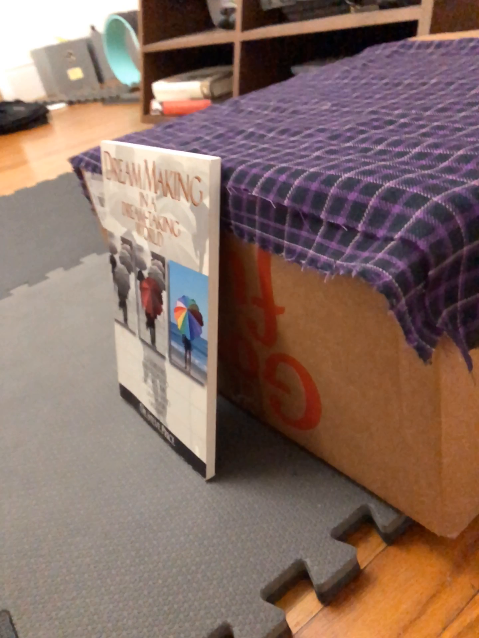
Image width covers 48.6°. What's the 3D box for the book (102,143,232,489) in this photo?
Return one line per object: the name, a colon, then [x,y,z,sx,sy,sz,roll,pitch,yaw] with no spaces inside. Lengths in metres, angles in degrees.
book: [-0.056,-0.010,0.391,0.020,0.219,0.151,-13,25,-31]
